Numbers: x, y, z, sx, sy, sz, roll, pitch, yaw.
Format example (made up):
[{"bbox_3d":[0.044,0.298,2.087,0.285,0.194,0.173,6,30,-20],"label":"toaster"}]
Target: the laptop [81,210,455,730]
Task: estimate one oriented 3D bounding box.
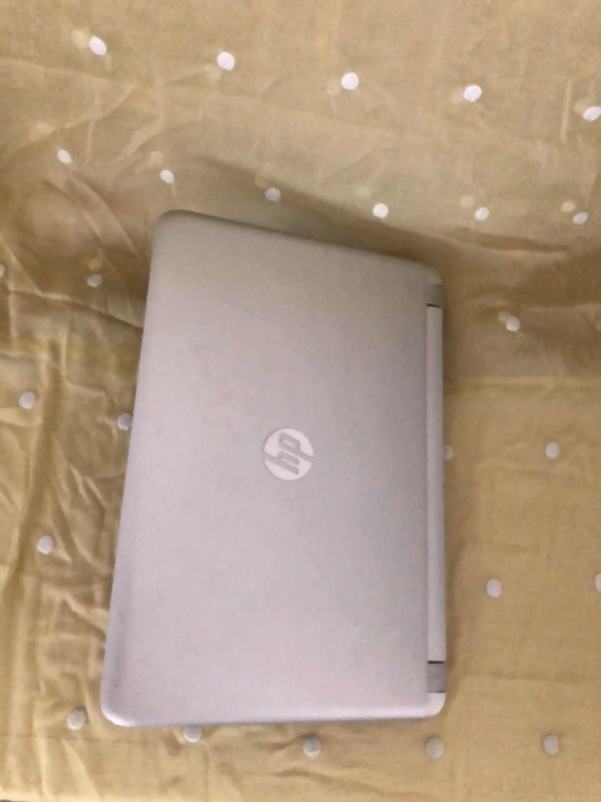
[{"bbox_3d":[-0.012,0.045,0.518,0.243,0.077,0.365,3,75,-2],"label":"laptop"}]
